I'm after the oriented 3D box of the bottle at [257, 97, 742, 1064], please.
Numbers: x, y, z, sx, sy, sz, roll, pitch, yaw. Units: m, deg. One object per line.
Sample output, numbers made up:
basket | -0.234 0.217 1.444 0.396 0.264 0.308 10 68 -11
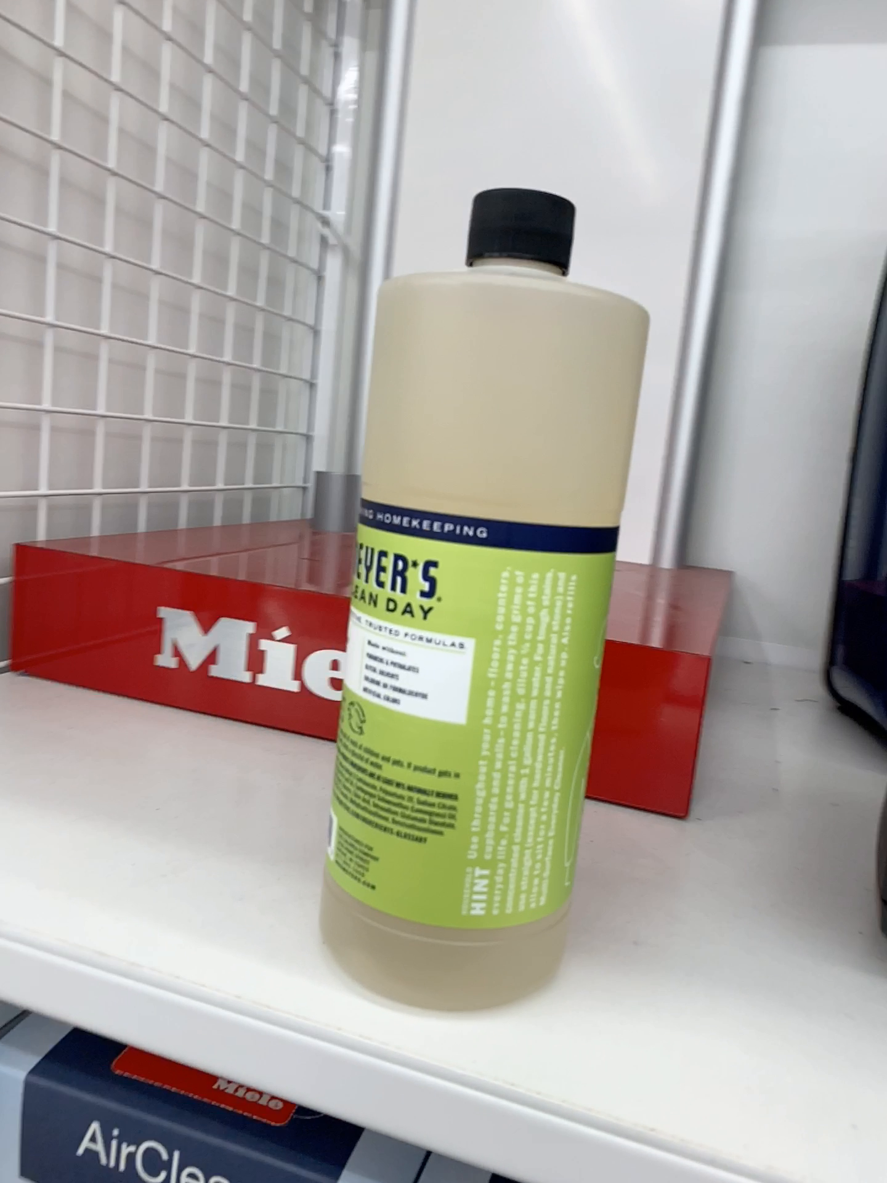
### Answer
bottle | 0.010 -0.002 0.286 0.090 0.240 0.090 6 8 -1
